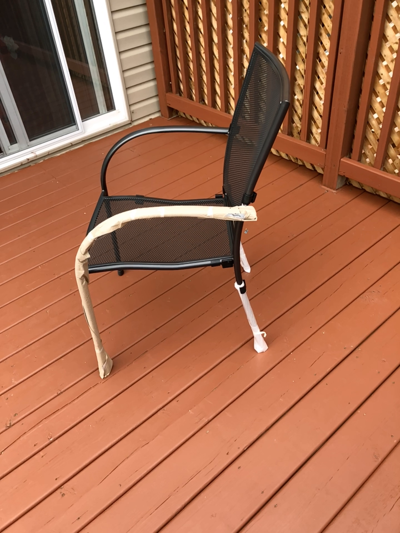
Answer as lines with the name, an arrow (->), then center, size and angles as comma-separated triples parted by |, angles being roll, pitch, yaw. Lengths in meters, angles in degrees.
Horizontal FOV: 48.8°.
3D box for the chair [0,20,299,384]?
chair -> -0.095, -0.173, 1.409 | 0.650, 0.926, 0.603 | -4, 40, 2
